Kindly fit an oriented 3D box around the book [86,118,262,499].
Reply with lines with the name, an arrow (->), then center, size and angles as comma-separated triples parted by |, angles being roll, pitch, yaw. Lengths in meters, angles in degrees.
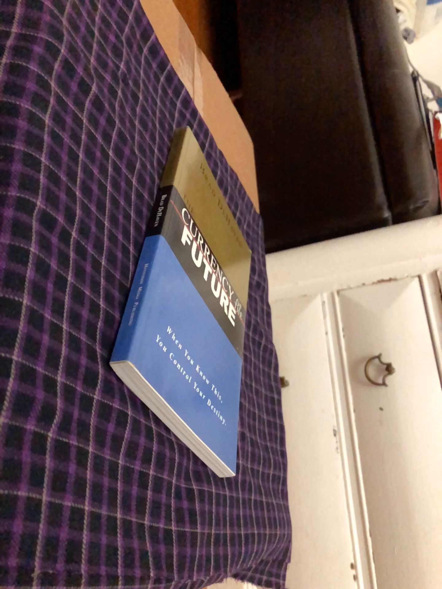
book -> -0.011, 0.002, 0.340 | 0.221, 0.020, 0.150 | -82, 152, -42
